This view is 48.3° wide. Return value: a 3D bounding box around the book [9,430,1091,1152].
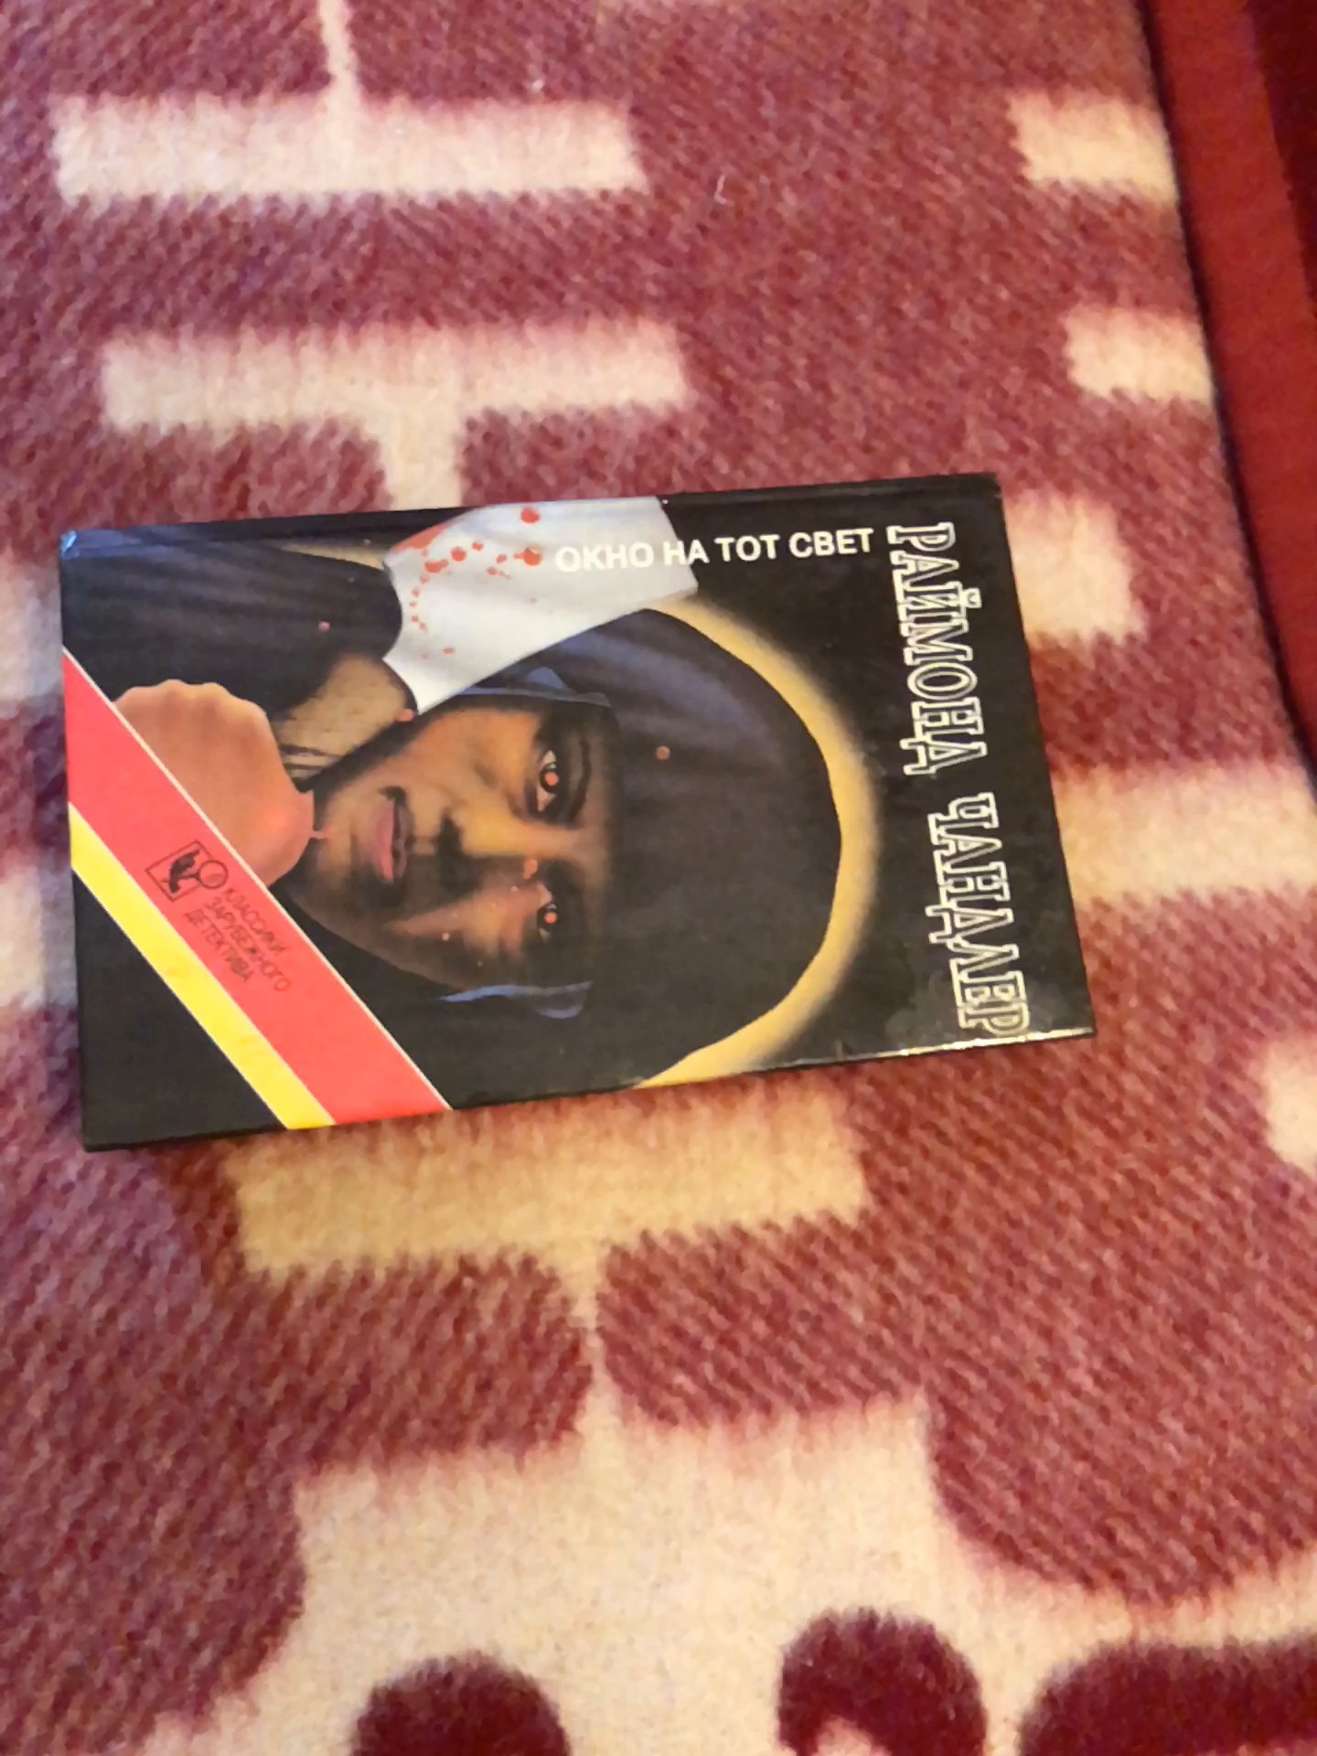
[{"bbox_3d":[-0.025,-0.021,0.316,0.208,0.032,0.133,-5,79,-6],"label":"book"}]
